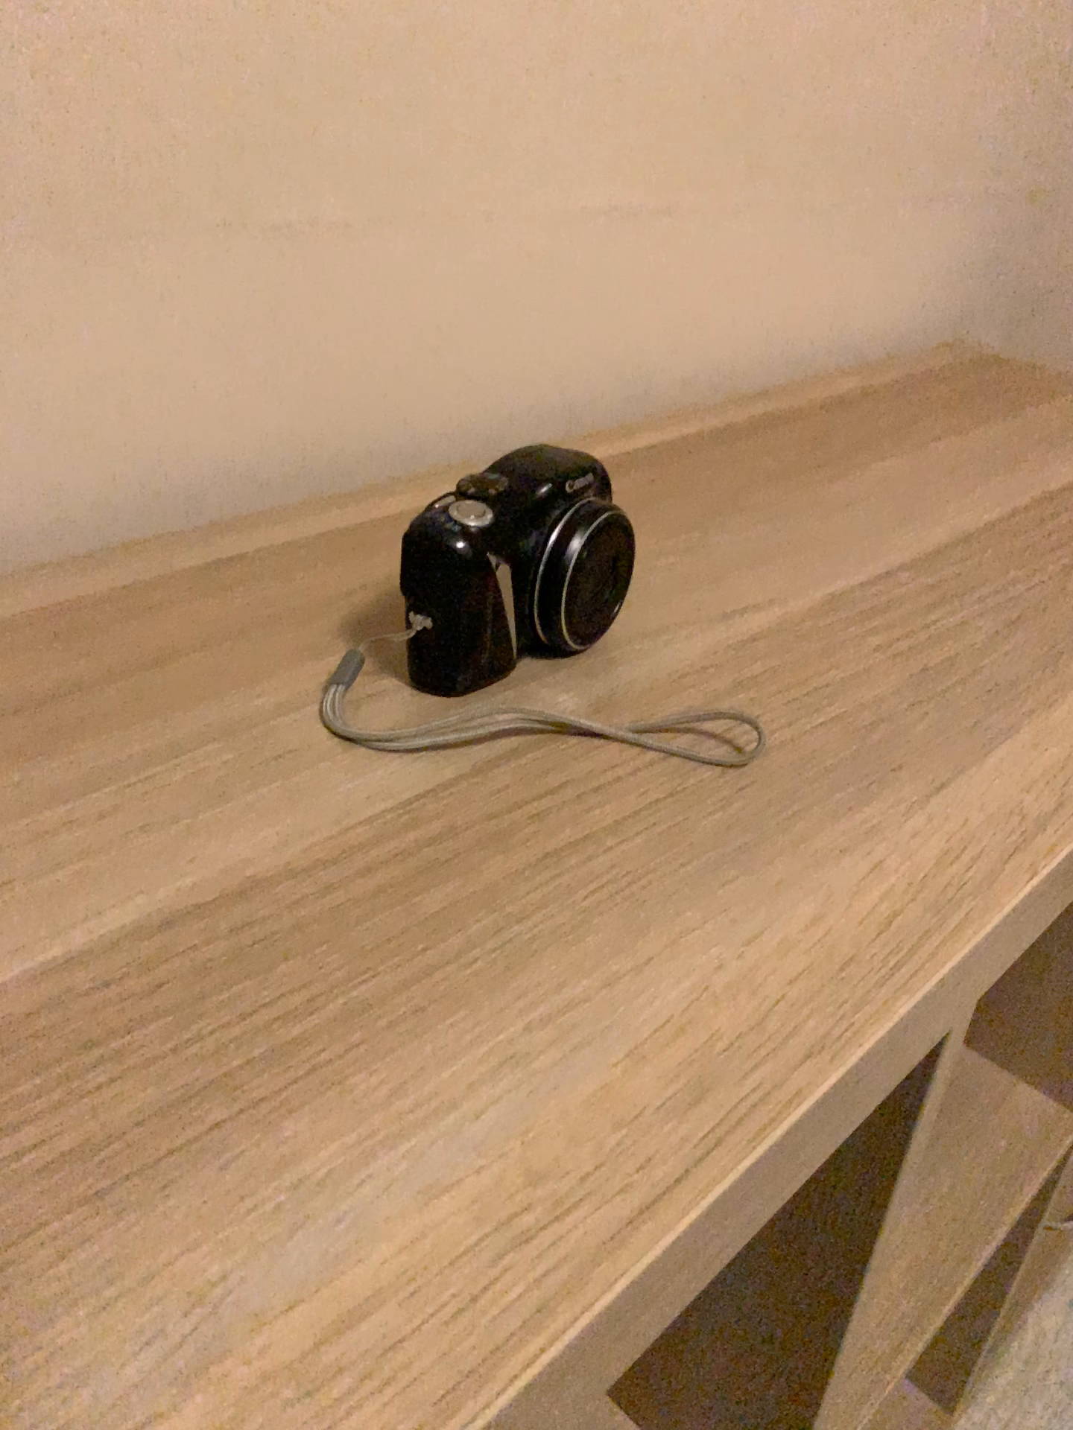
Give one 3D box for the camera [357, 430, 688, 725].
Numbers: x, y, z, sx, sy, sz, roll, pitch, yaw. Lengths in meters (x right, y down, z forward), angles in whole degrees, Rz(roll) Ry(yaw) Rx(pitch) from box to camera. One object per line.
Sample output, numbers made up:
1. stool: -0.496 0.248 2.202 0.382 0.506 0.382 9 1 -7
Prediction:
1. camera: -0.002 -0.057 0.409 0.068 0.059 0.121 17 32 23
